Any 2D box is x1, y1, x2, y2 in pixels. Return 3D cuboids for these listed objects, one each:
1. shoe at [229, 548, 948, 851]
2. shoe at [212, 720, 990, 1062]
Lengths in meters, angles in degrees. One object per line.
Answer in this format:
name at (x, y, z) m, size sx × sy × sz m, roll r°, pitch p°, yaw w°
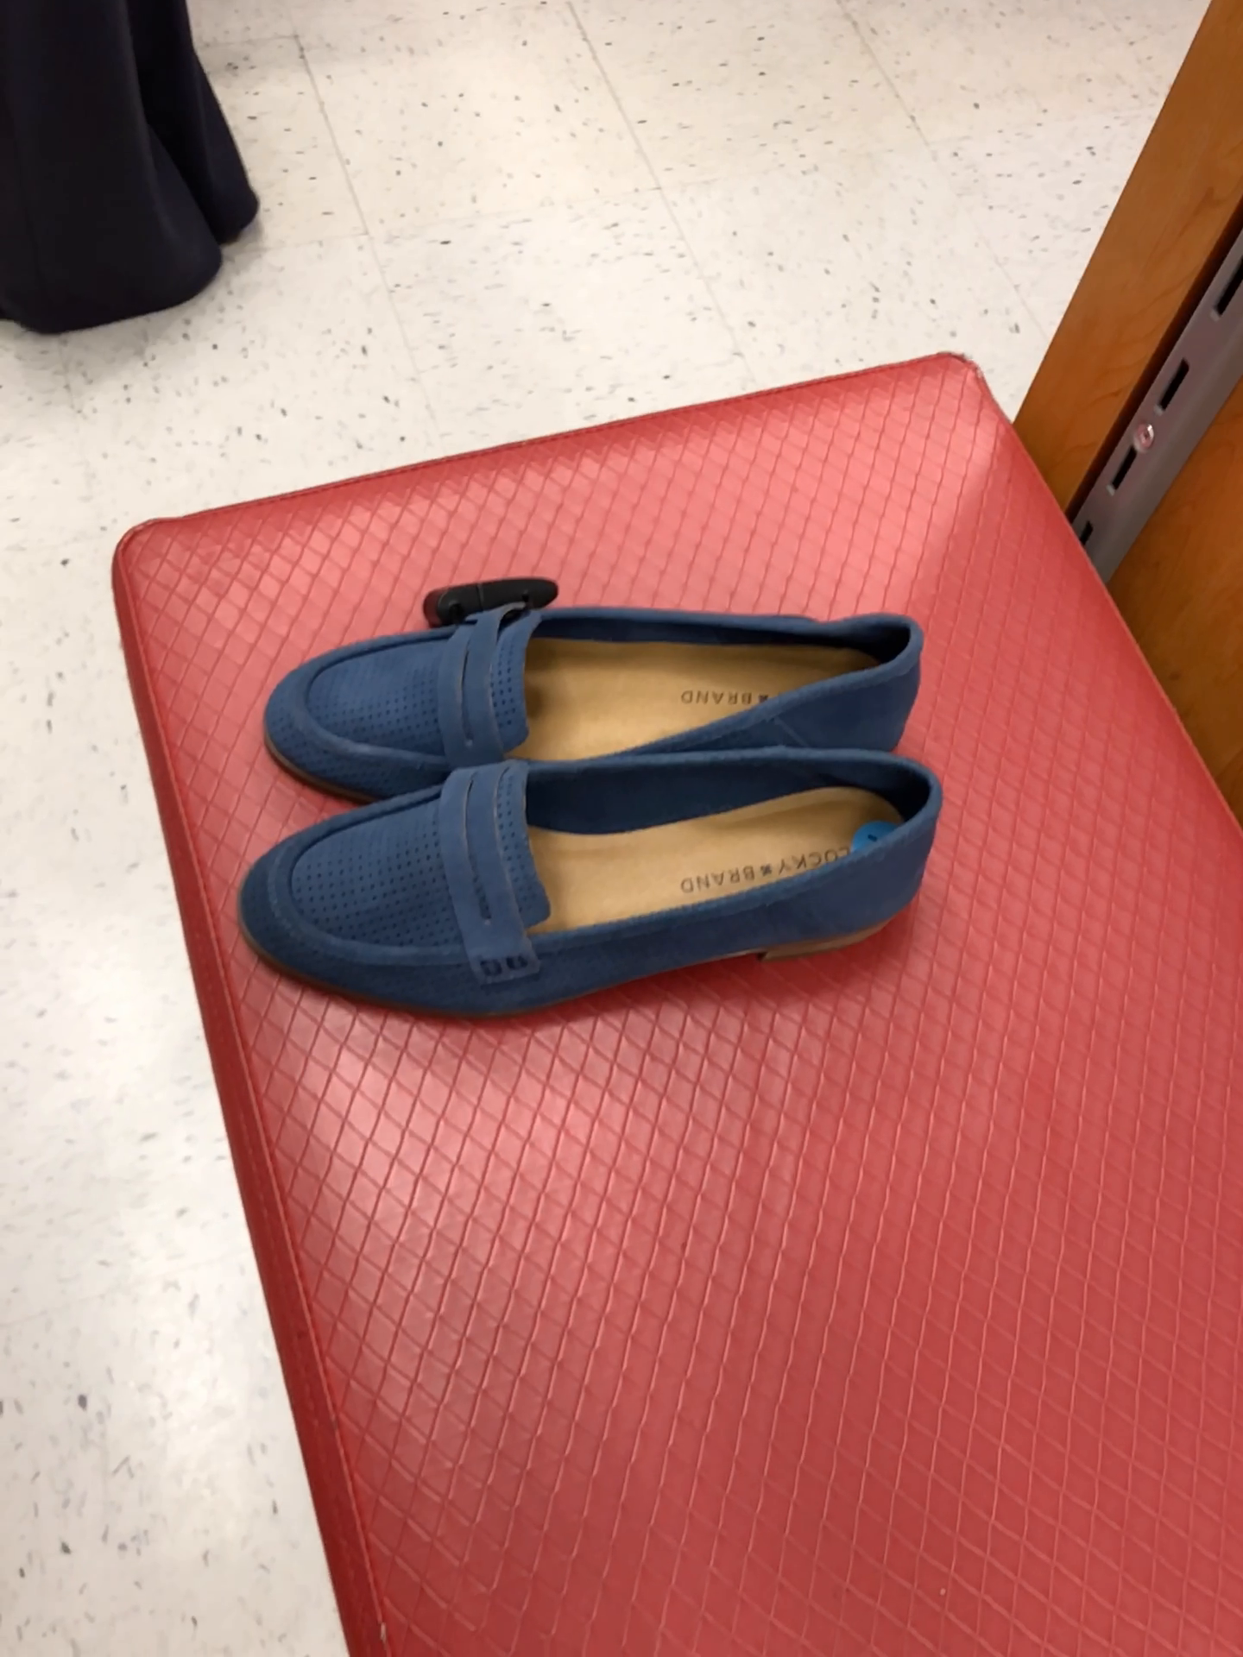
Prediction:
shoe at (-0.012, -0.048, 0.533) m, size 0.253 × 0.069 × 0.082 m, roll 2°, pitch 63°, yaw -4°
shoe at (-0.010, 0.022, 0.501) m, size 0.258 × 0.069 × 0.085 m, roll -4°, pitch 64°, yaw -7°
